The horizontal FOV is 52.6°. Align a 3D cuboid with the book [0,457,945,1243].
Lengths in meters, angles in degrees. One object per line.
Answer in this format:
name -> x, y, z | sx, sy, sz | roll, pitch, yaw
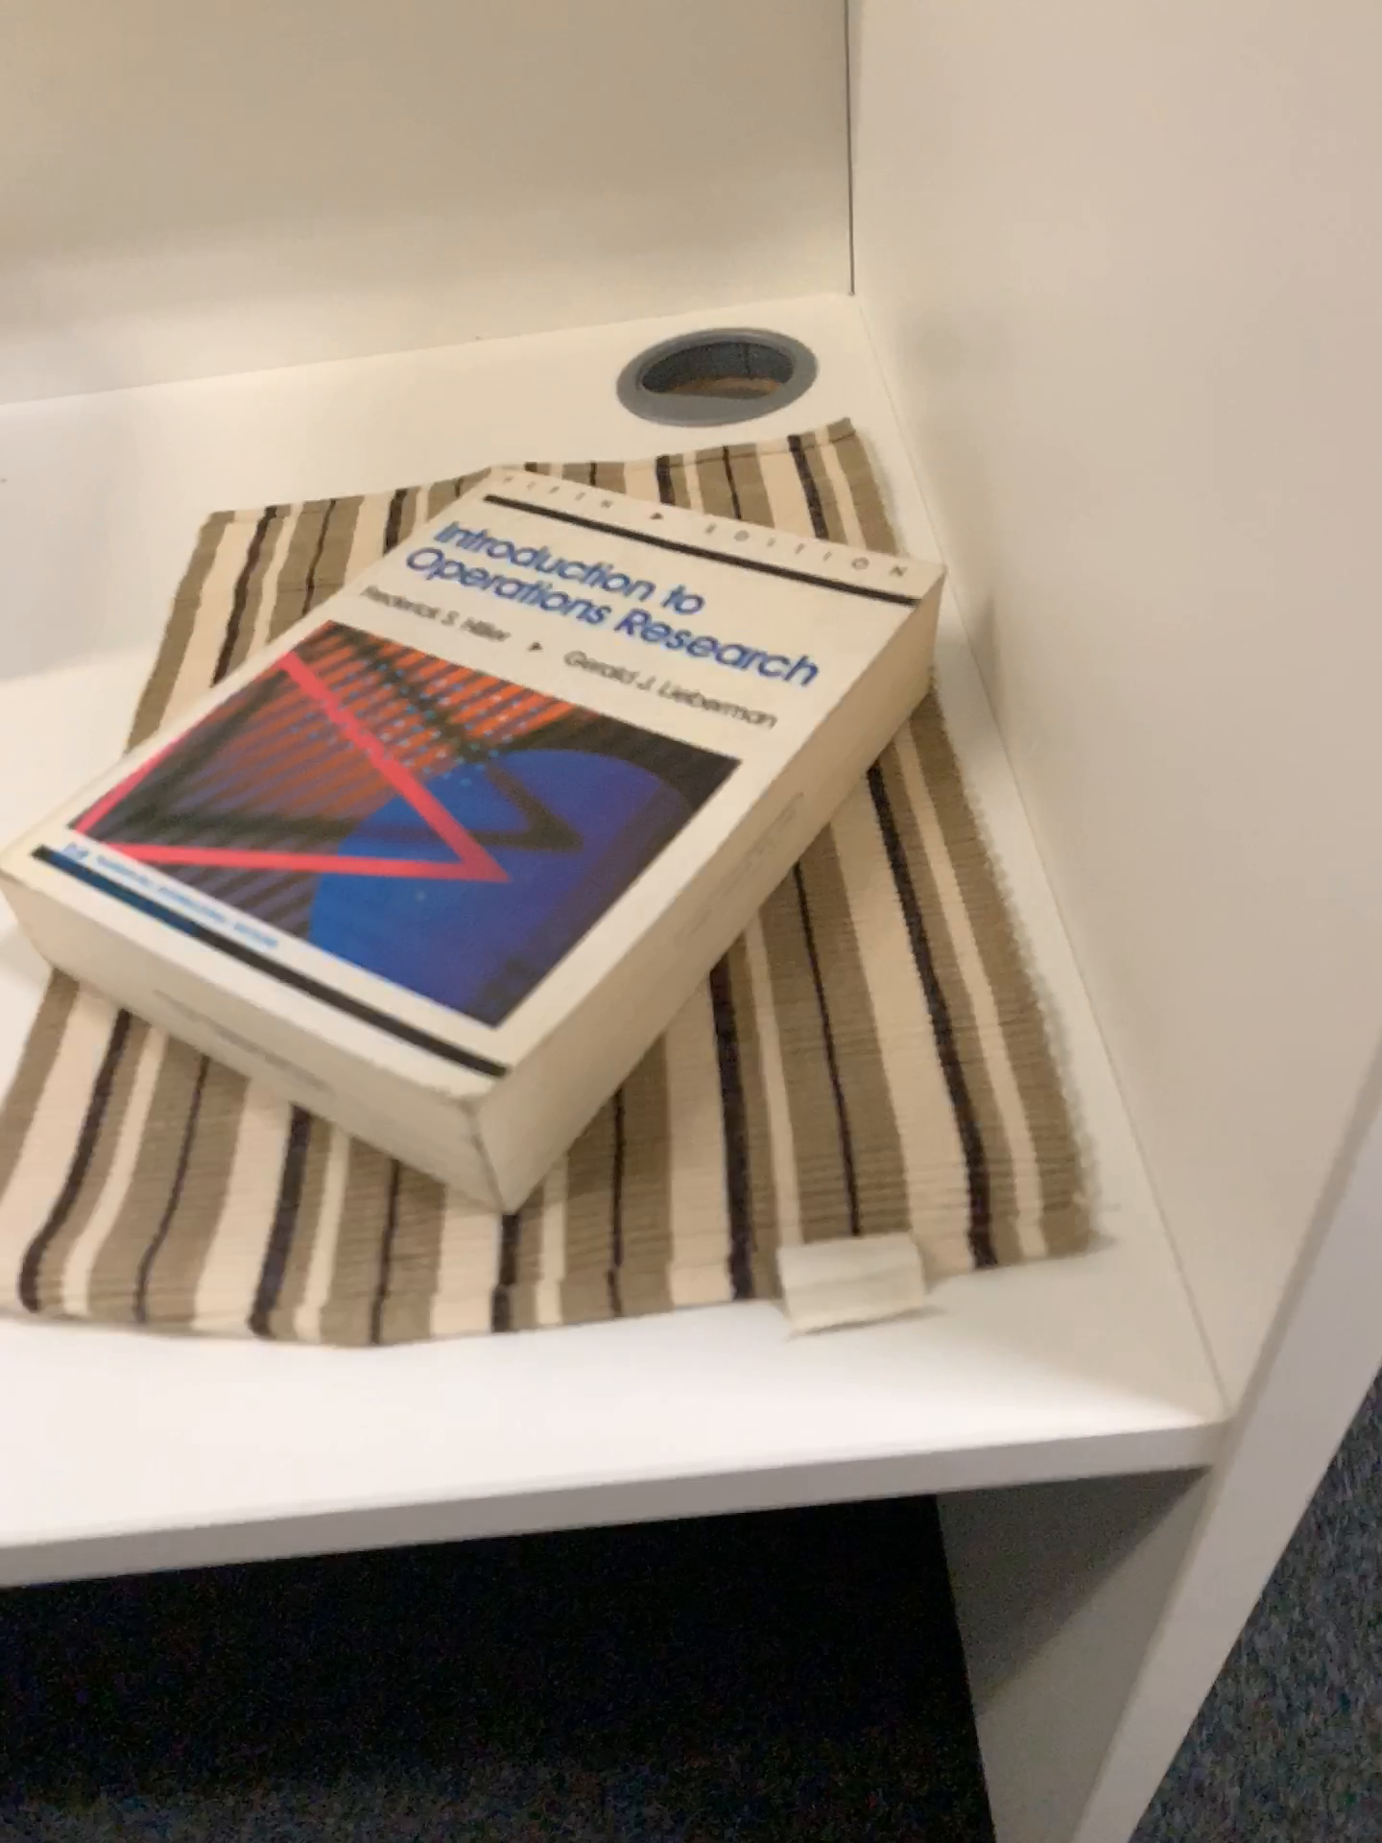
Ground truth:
book -> -0.064, -0.047, 0.432 | 0.197, 0.052, 0.235 | 22, 53, 27
